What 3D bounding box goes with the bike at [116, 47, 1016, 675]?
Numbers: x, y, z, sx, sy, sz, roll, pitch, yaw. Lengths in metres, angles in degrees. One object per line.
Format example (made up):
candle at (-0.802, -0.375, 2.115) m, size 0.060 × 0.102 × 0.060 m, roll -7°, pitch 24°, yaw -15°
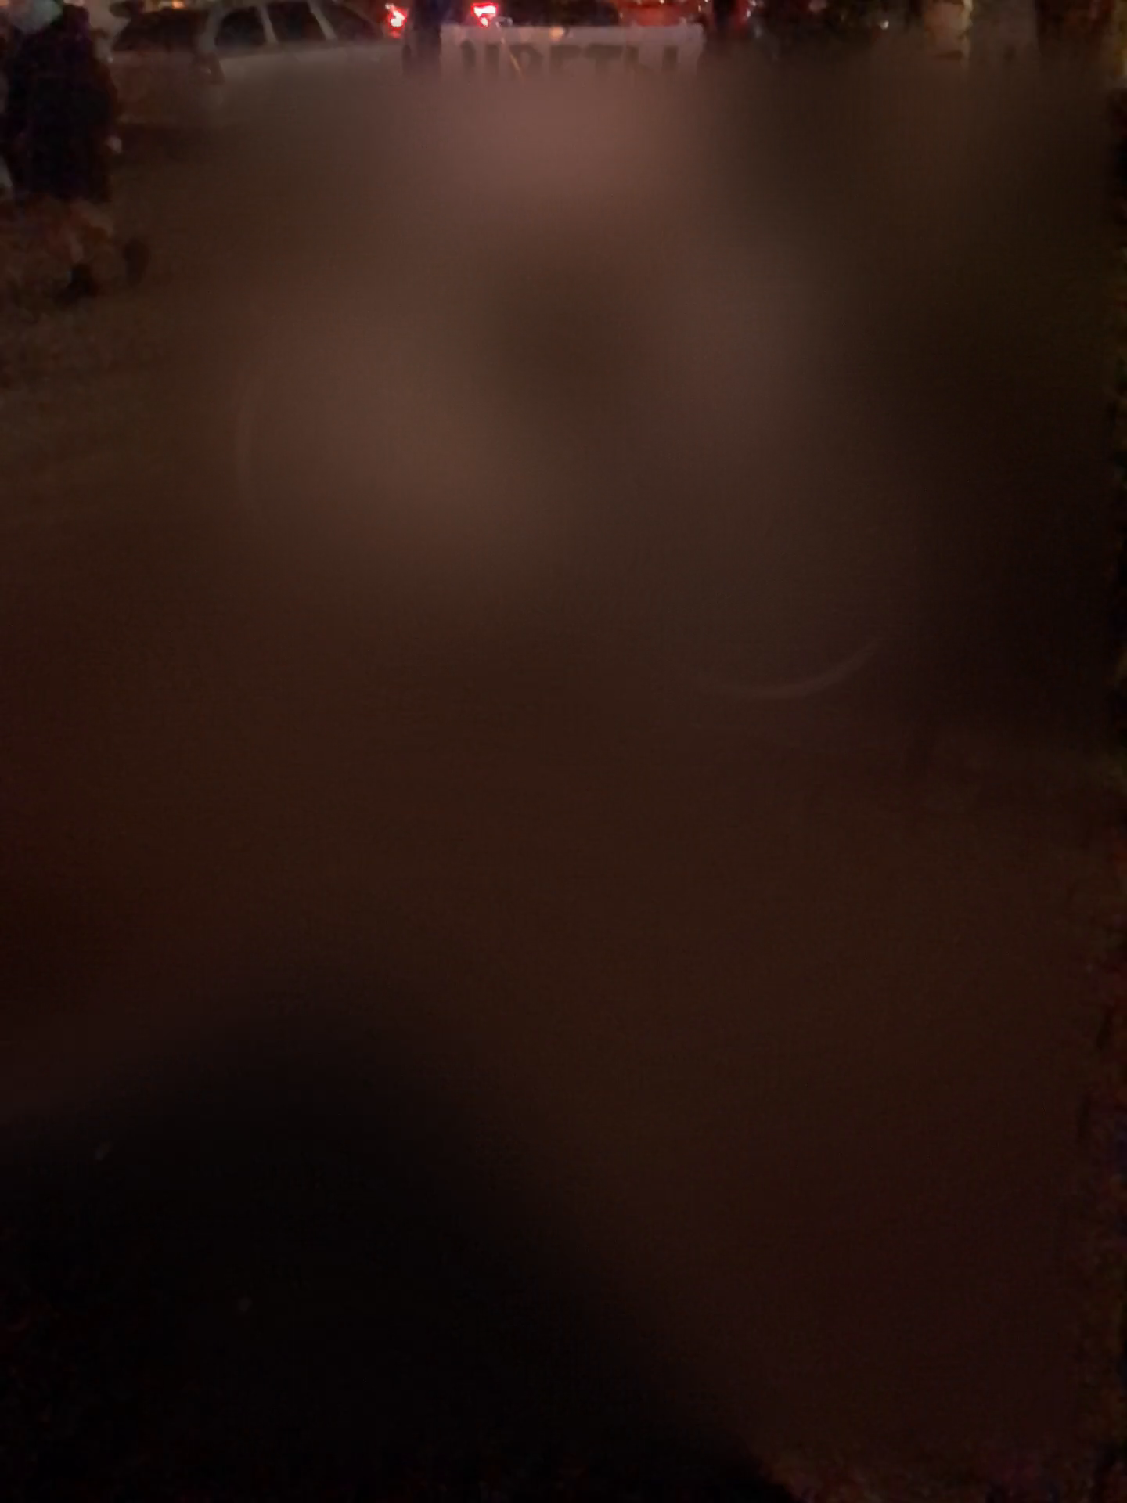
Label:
bike at (-0.035, -0.908, 2.911) m, size 1.829 × 1.118 × 0.609 m, roll 10°, pitch 35°, yaw 24°
